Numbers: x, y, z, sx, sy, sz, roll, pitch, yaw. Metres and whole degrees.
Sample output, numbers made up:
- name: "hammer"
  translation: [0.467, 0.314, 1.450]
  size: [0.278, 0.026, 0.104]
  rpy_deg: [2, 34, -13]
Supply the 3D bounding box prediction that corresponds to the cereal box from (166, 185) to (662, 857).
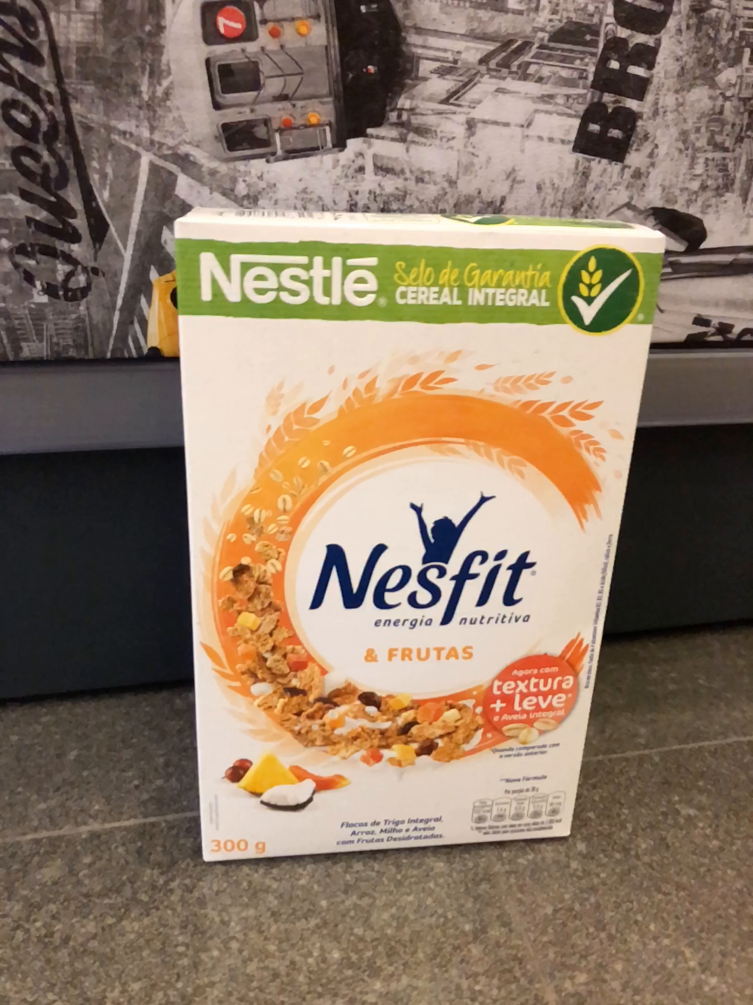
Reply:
- name: "cereal box"
  translation: [0.006, 0.011, 0.329]
  size: [0.150, 0.248, 0.070]
  rpy_deg: [-1, 23, -8]
